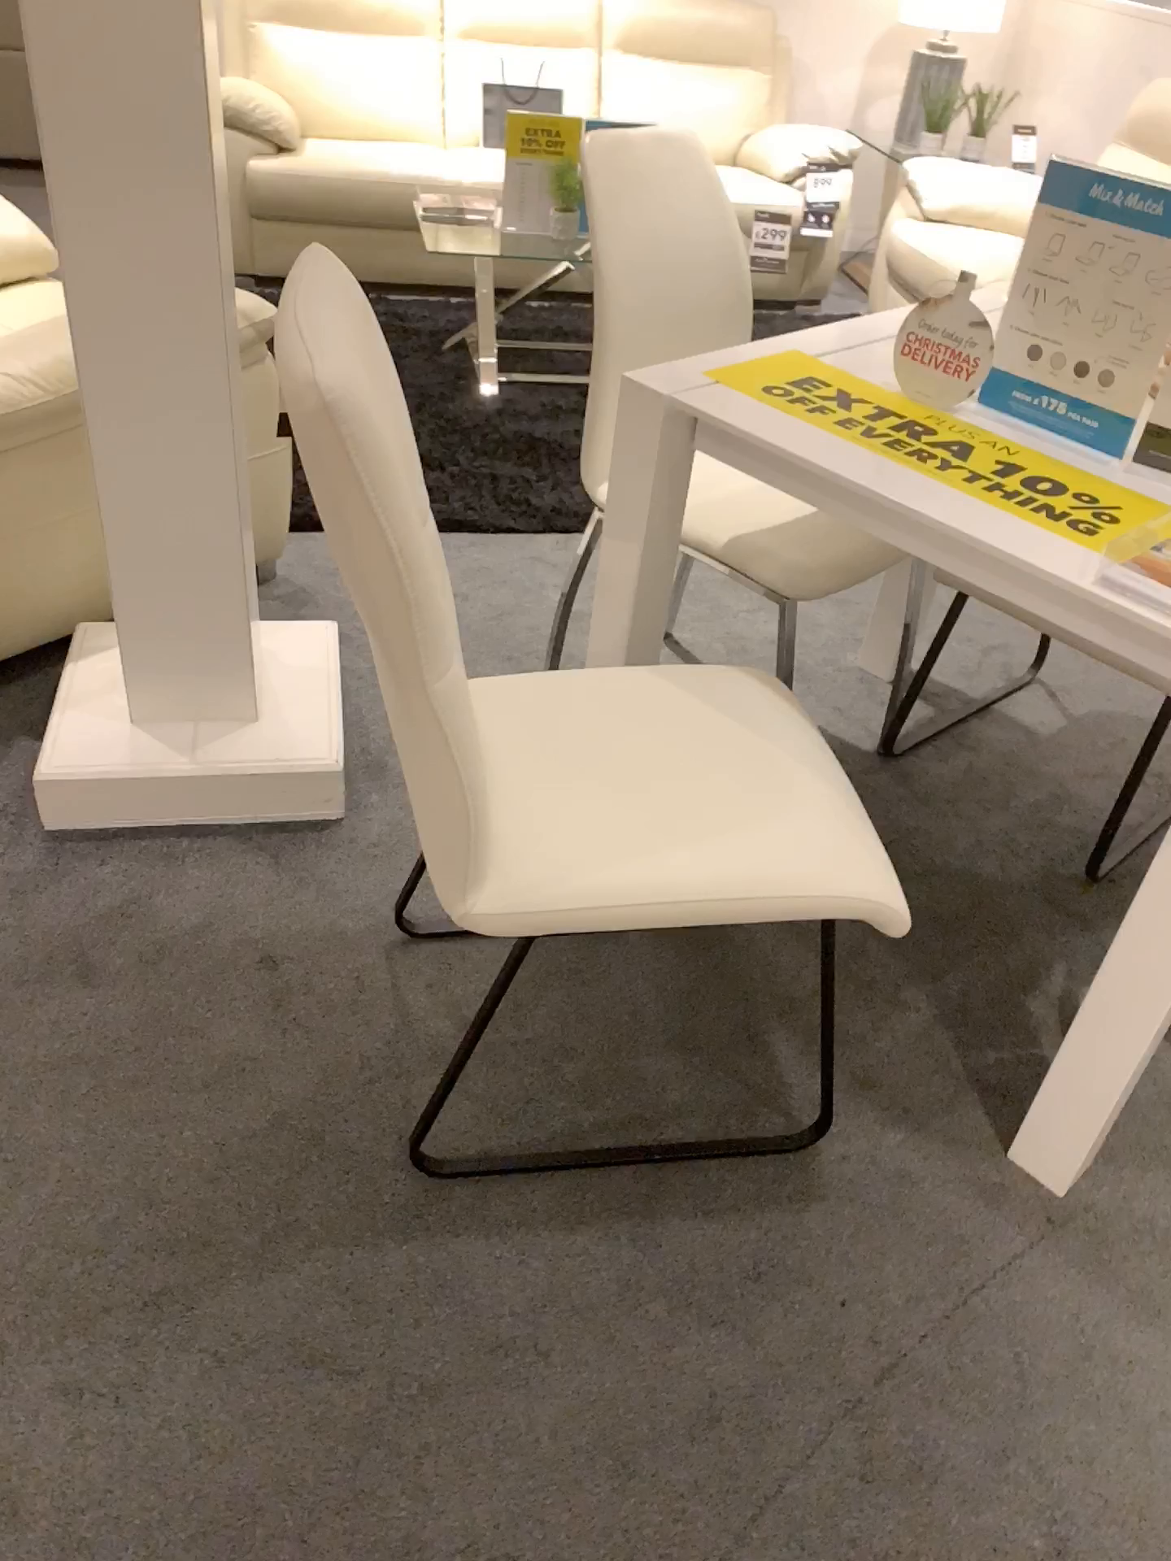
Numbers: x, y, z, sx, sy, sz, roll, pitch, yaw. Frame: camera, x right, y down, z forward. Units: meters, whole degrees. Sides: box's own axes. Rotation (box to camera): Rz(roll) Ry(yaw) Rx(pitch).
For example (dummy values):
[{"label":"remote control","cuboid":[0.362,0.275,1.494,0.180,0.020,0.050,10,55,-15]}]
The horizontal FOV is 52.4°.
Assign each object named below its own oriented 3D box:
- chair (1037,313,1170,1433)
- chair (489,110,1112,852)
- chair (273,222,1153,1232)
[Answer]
[{"label":"chair","cuboid":[1.041,0.071,1.281,0.552,0.882,0.603,-23,47,-34]},{"label":"chair","cuboid":[0.279,-0.500,1.928,0.643,0.901,0.523,32,44,29]},{"label":"chair","cuboid":[0.016,-0.042,1.289,0.630,0.882,0.545,-2,38,-12]}]
